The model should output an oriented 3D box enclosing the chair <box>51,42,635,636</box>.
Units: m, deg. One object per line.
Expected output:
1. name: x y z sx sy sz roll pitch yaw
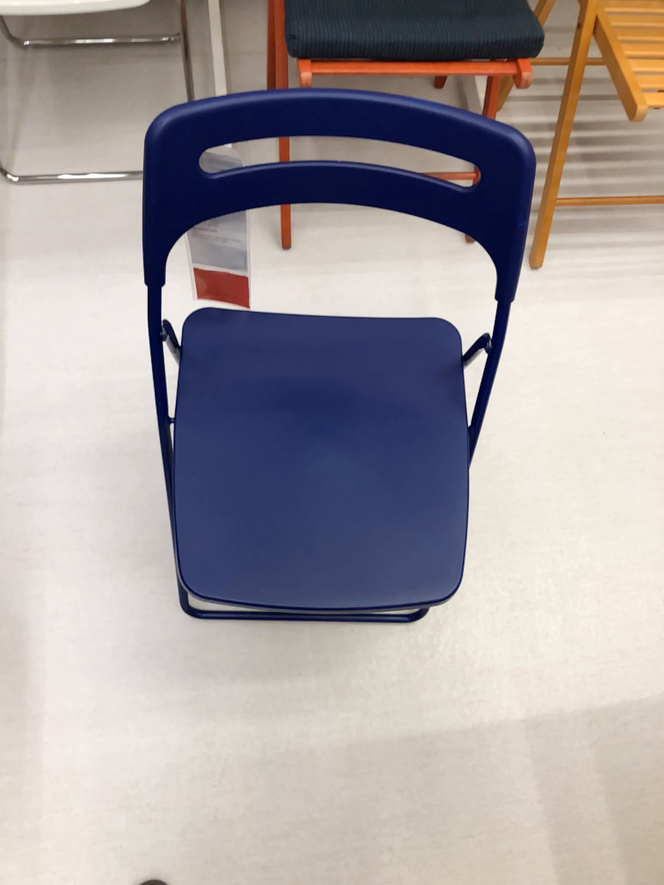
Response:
1. chair: -0.010 -0.041 0.990 0.460 0.698 0.501 2 68 -4
